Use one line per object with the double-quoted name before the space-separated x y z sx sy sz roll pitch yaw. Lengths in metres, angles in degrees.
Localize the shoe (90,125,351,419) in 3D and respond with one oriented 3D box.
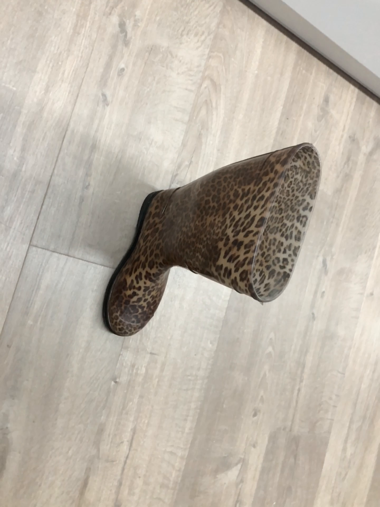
"shoe" 0.007 0.009 0.563 0.090 0.339 0.280 24 82 -29
